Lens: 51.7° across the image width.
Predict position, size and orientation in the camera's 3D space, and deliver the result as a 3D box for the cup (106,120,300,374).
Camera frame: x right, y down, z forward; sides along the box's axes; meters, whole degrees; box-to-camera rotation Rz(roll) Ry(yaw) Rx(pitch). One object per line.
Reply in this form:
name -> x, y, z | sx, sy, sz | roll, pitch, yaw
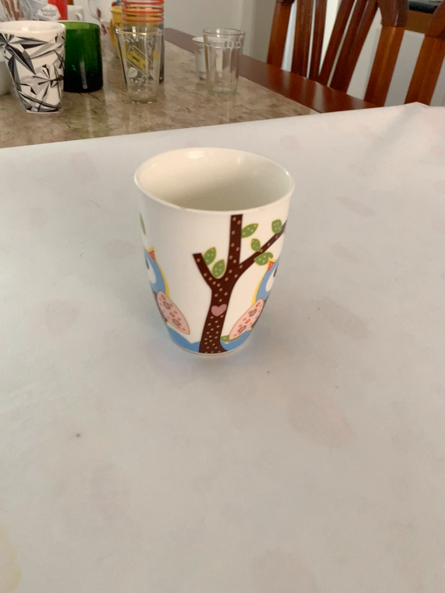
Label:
cup -> -0.005, -0.035, 0.275 | 0.080, 0.099, 0.111 | 9, 37, 7
